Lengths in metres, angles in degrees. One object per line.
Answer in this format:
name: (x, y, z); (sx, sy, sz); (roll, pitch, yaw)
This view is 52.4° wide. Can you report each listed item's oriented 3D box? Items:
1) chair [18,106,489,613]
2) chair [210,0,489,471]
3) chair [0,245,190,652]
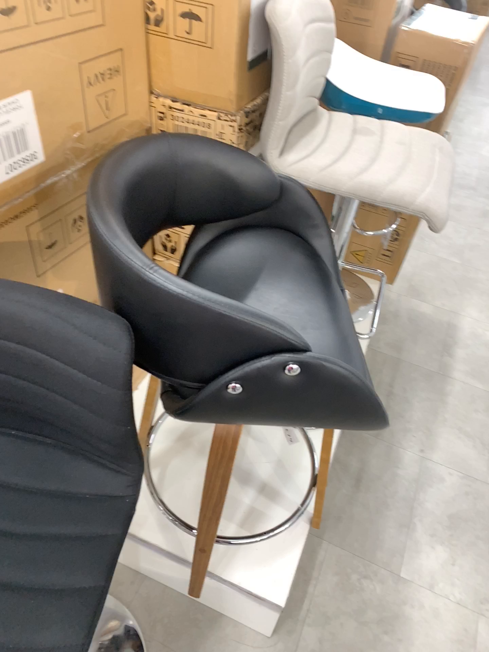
chair: (-0.023, 0.130, 1.032); (0.546, 0.898, 0.570); (0, 47, -8)
chair: (0.234, -0.180, 1.185); (0.437, 0.967, 0.438); (18, 42, 11)
chair: (-0.418, 0.464, 0.832); (0.484, 1.016, 0.471); (12, 43, 10)
